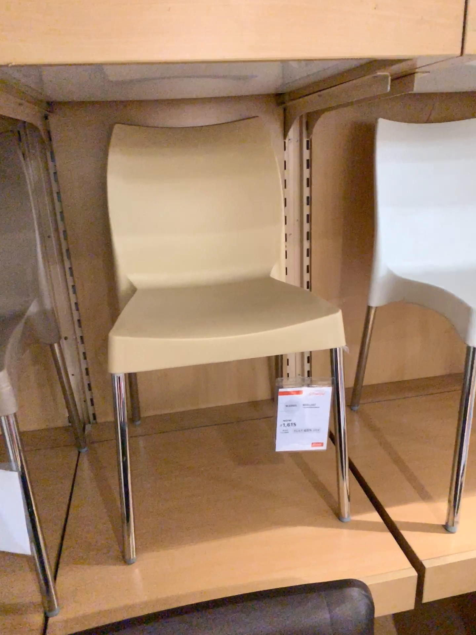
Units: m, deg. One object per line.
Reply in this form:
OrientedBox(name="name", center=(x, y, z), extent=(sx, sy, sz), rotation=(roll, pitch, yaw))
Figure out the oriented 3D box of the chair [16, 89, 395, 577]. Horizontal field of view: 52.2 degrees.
OrientedBox(name="chair", center=(-0.088, -0.026, 1.084), extent=(0.540, 0.807, 0.592), rotation=(-5, 19, -12))
